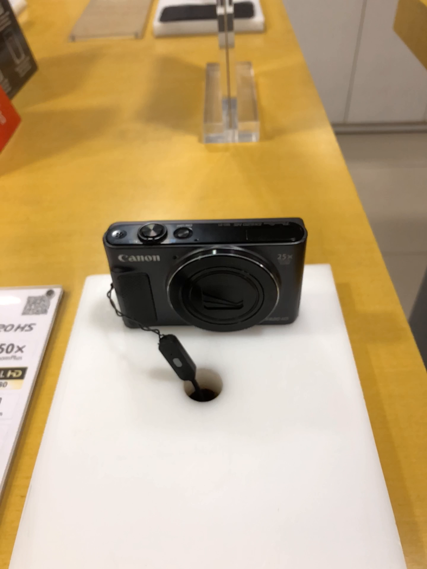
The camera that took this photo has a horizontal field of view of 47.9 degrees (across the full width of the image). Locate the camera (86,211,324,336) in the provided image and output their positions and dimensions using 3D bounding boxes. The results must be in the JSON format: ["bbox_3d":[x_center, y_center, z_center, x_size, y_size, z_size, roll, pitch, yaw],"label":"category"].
[{"bbox_3d":[-0.003,-0.004,0.254,0.110,0.060,0.030,-1,45,2],"label":"camera"}]
